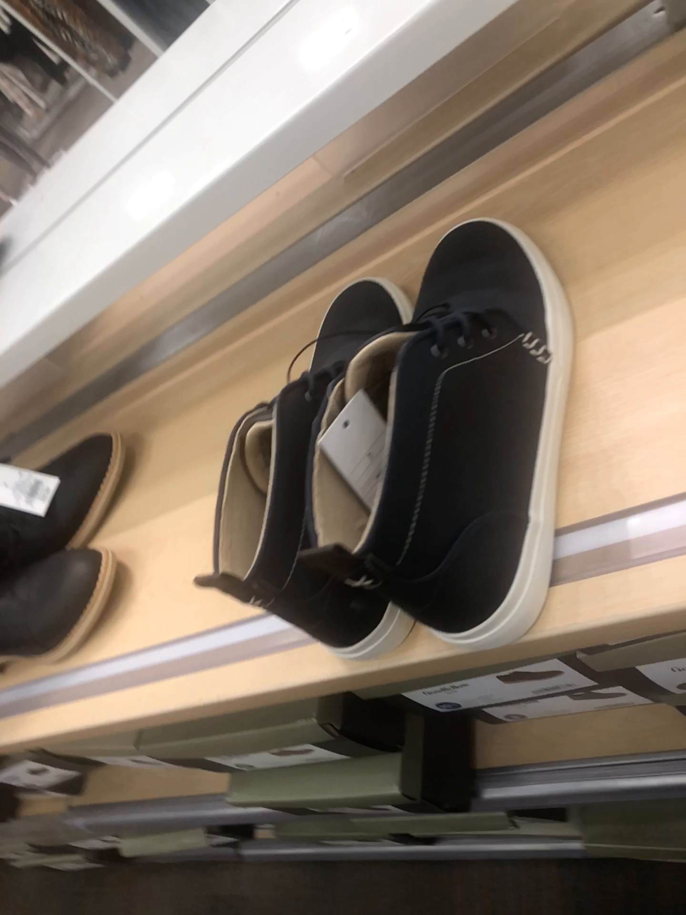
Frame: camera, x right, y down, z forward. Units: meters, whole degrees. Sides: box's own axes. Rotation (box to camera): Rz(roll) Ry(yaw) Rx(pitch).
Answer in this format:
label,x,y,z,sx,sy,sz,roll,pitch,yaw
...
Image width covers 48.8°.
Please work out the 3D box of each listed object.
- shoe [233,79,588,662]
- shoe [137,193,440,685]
label,x,y,z,sx,sy,sz,roll,pitch,yaw
shoe,0.042,-0.045,0.408,0.106,0.124,0.267,-21,51,37
shoe,-0.025,-0.013,0.465,0.109,0.114,0.258,-25,49,34
